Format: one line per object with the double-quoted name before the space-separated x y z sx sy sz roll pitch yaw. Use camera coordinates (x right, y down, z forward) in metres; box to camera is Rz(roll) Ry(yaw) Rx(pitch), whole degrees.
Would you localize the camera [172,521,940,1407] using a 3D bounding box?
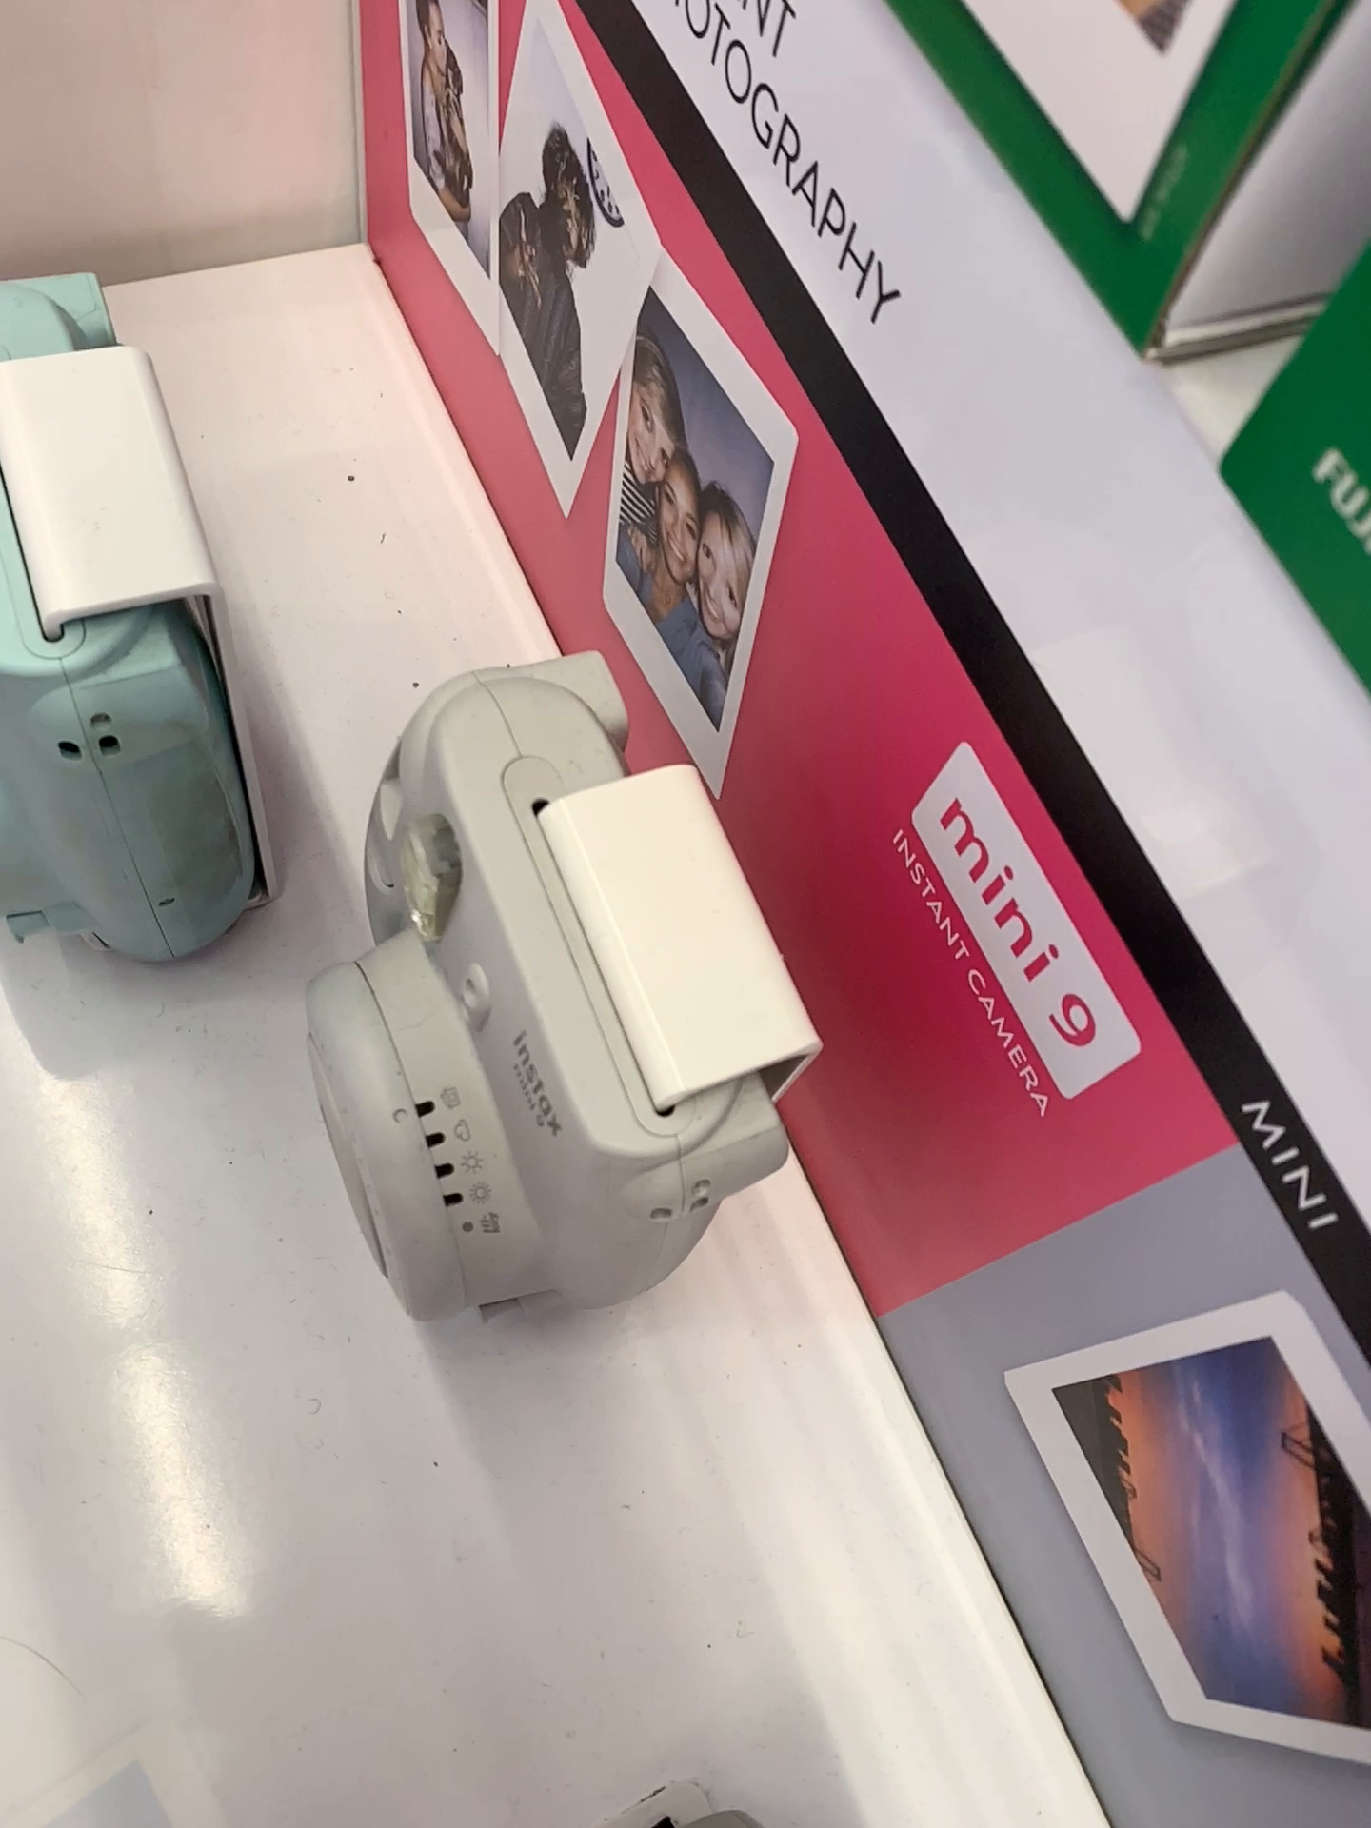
"camera" -0.030 0.015 0.257 0.080 0.109 0.110 -17 70 -18
